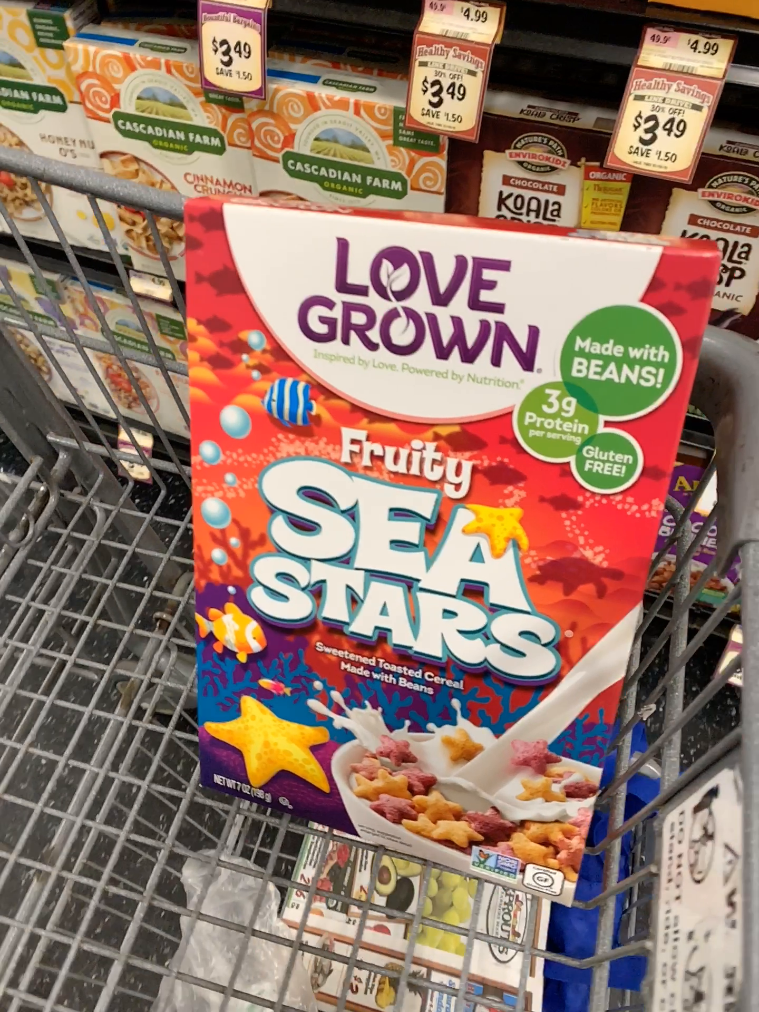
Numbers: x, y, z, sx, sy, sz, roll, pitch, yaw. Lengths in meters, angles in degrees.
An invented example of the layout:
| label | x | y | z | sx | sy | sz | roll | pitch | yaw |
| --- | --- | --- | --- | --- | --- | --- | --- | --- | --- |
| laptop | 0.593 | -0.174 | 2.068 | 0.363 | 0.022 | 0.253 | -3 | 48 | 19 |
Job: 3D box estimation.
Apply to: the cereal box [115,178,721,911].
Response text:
| label | x | y | z | sx | sy | sz | roll | pitch | yaw |
| --- | --- | --- | --- | --- | --- | --- | --- | --- | --- |
| cereal box | 0.002 | 0.018 | 0.296 | 0.180 | 0.249 | 0.050 | 12 | 27 | 16 |
